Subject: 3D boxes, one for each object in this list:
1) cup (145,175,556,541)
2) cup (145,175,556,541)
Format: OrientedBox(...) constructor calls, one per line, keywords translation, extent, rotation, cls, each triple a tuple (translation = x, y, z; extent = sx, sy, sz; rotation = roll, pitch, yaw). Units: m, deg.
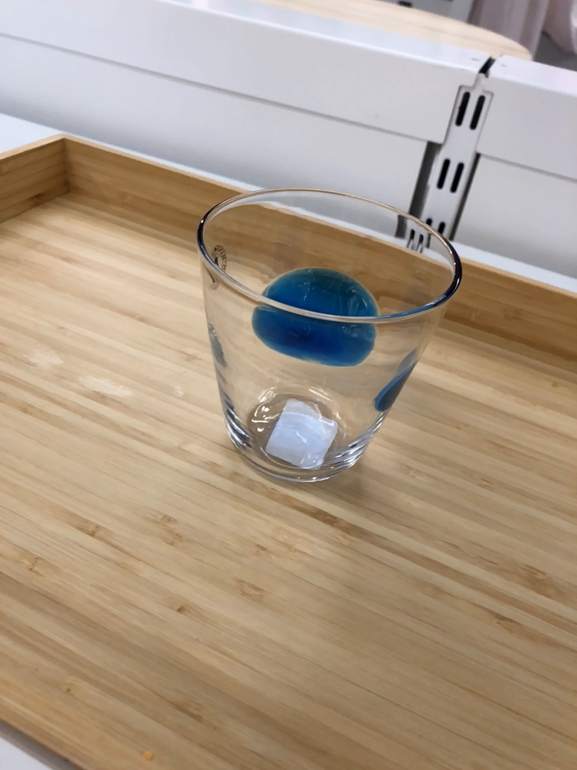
OrientedBox(translation=(0.015, -0.020, 0.240), extent=(0.100, 0.070, 0.100), rotation=(6, 38, -5), cls="cup")
OrientedBox(translation=(0.015, -0.020, 0.240), extent=(0.100, 0.070, 0.100), rotation=(6, 38, -5), cls="cup")
